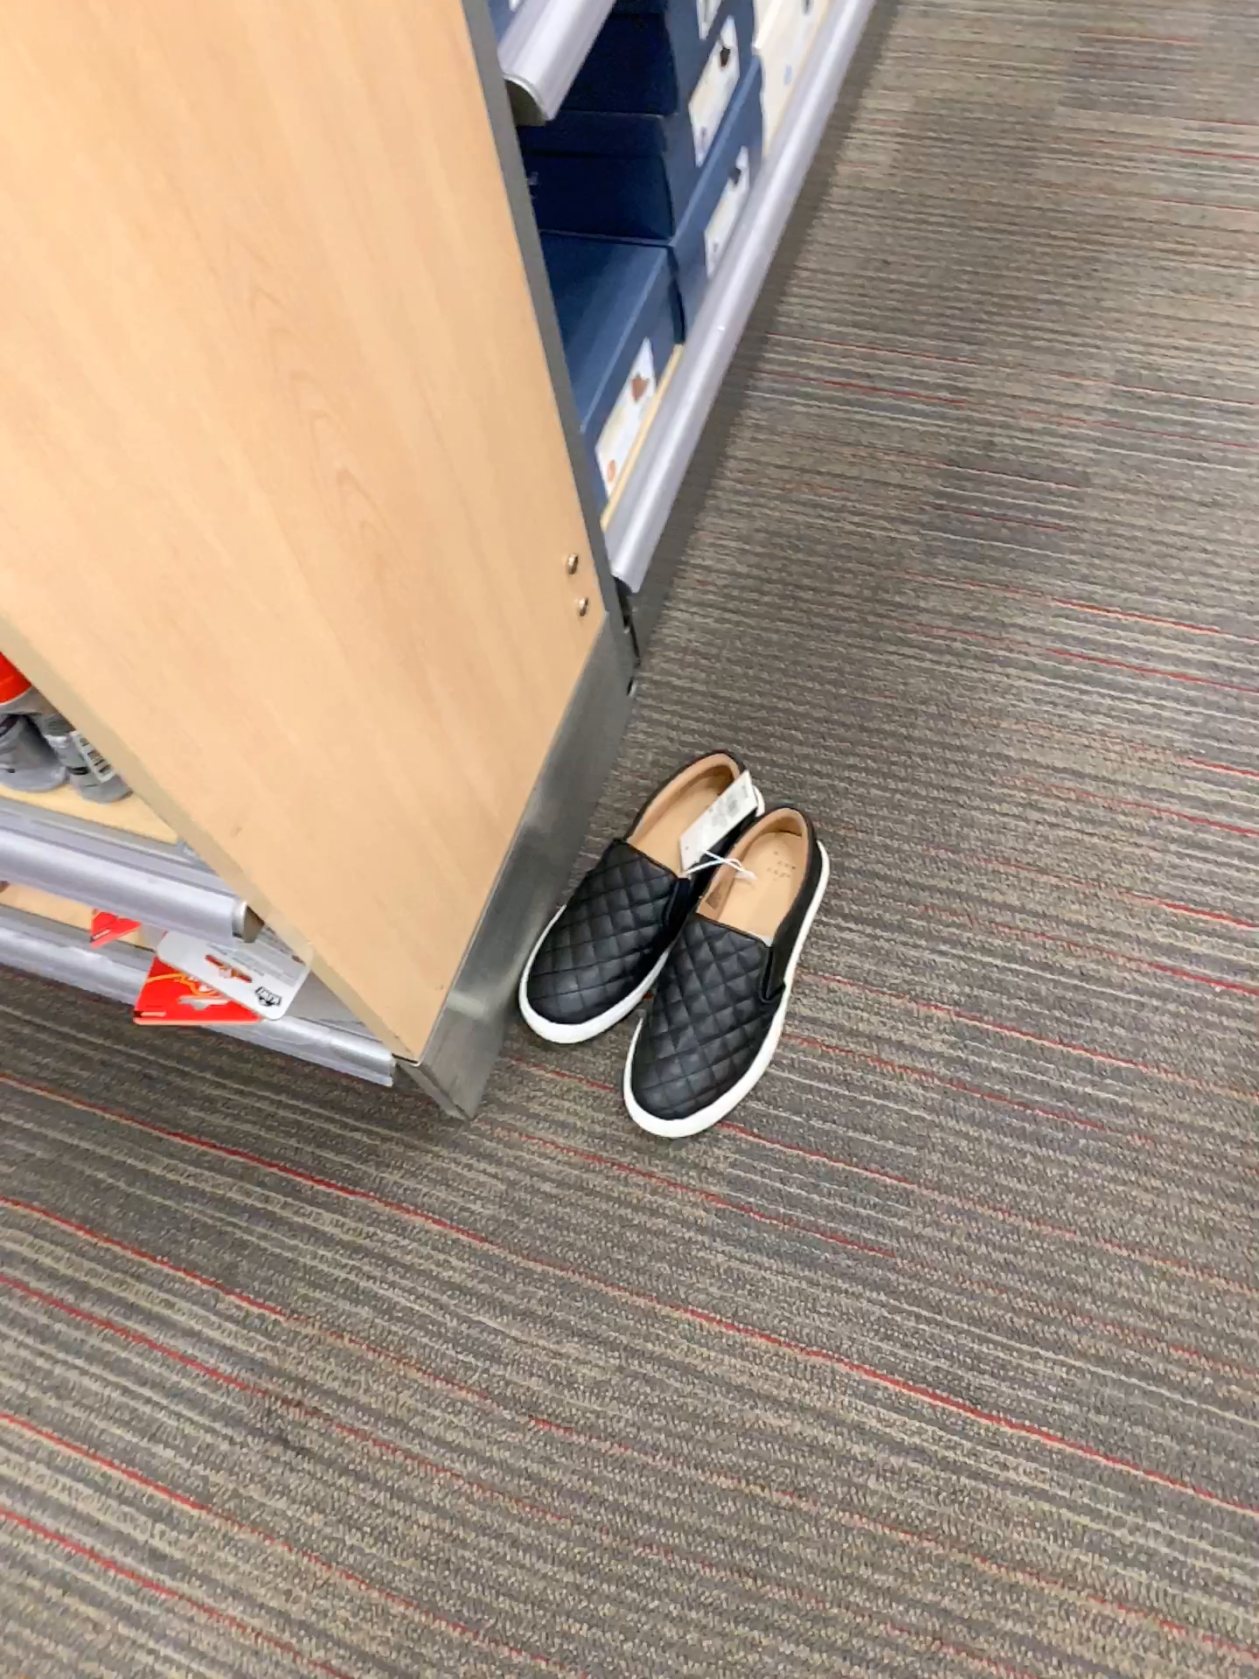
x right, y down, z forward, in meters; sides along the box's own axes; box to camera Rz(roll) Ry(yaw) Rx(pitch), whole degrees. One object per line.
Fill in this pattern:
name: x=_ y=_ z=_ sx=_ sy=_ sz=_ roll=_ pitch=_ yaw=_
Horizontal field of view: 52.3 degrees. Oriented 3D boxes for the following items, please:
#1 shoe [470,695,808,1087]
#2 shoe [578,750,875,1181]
shoe: x=0.015 y=0.036 z=0.943 sx=0.100 sy=0.100 sz=0.260 roll=33 pitch=72 yaw=22
shoe: x=0.074 y=0.084 z=0.885 sx=0.100 sy=0.100 sz=0.260 roll=20 pitch=68 yaw=17
